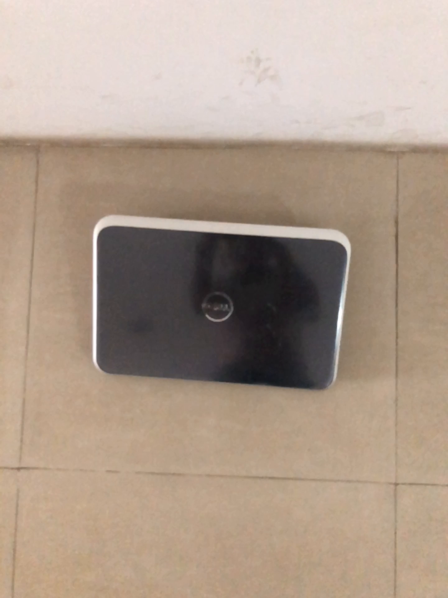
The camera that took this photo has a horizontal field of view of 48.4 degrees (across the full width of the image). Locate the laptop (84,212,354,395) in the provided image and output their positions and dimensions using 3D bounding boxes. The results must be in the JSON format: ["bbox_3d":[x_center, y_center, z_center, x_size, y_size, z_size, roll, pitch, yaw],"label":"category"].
[{"bbox_3d":[-0.005,0.008,0.734,0.360,0.080,0.234,4,87,1],"label":"laptop"}]
